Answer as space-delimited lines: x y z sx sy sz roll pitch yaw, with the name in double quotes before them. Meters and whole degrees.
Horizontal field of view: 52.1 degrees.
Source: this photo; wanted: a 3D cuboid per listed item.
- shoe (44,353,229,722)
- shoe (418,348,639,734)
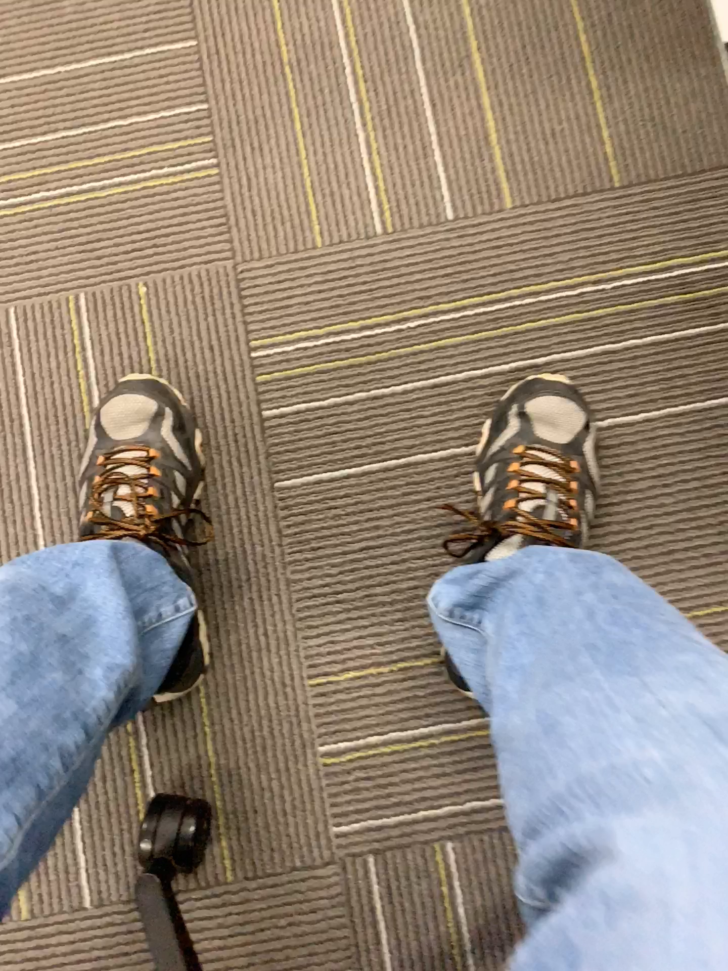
"shoe" -0.218 0.048 0.723 0.125 0.095 0.323 -6 84 2
"shoe" 0.151 0.049 0.707 0.122 0.095 0.322 14 85 4
